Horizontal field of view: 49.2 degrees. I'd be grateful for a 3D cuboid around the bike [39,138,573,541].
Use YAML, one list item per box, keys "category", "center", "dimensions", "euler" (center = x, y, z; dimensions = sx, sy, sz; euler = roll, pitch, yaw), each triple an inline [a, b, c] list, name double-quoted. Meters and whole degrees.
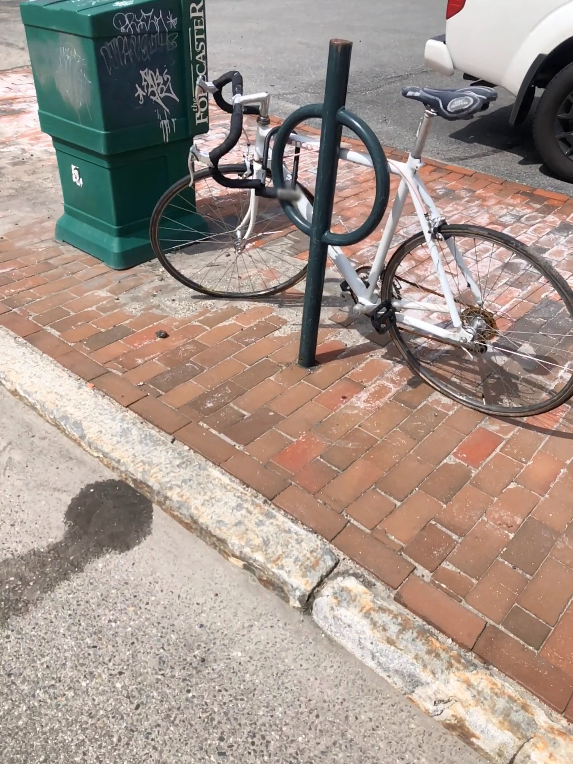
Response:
- category: "bike"
  center: [0.070, -0.183, 1.635]
  dimensions: [1.275, 0.650, 0.467]
  euler: [19, 39, 25]
